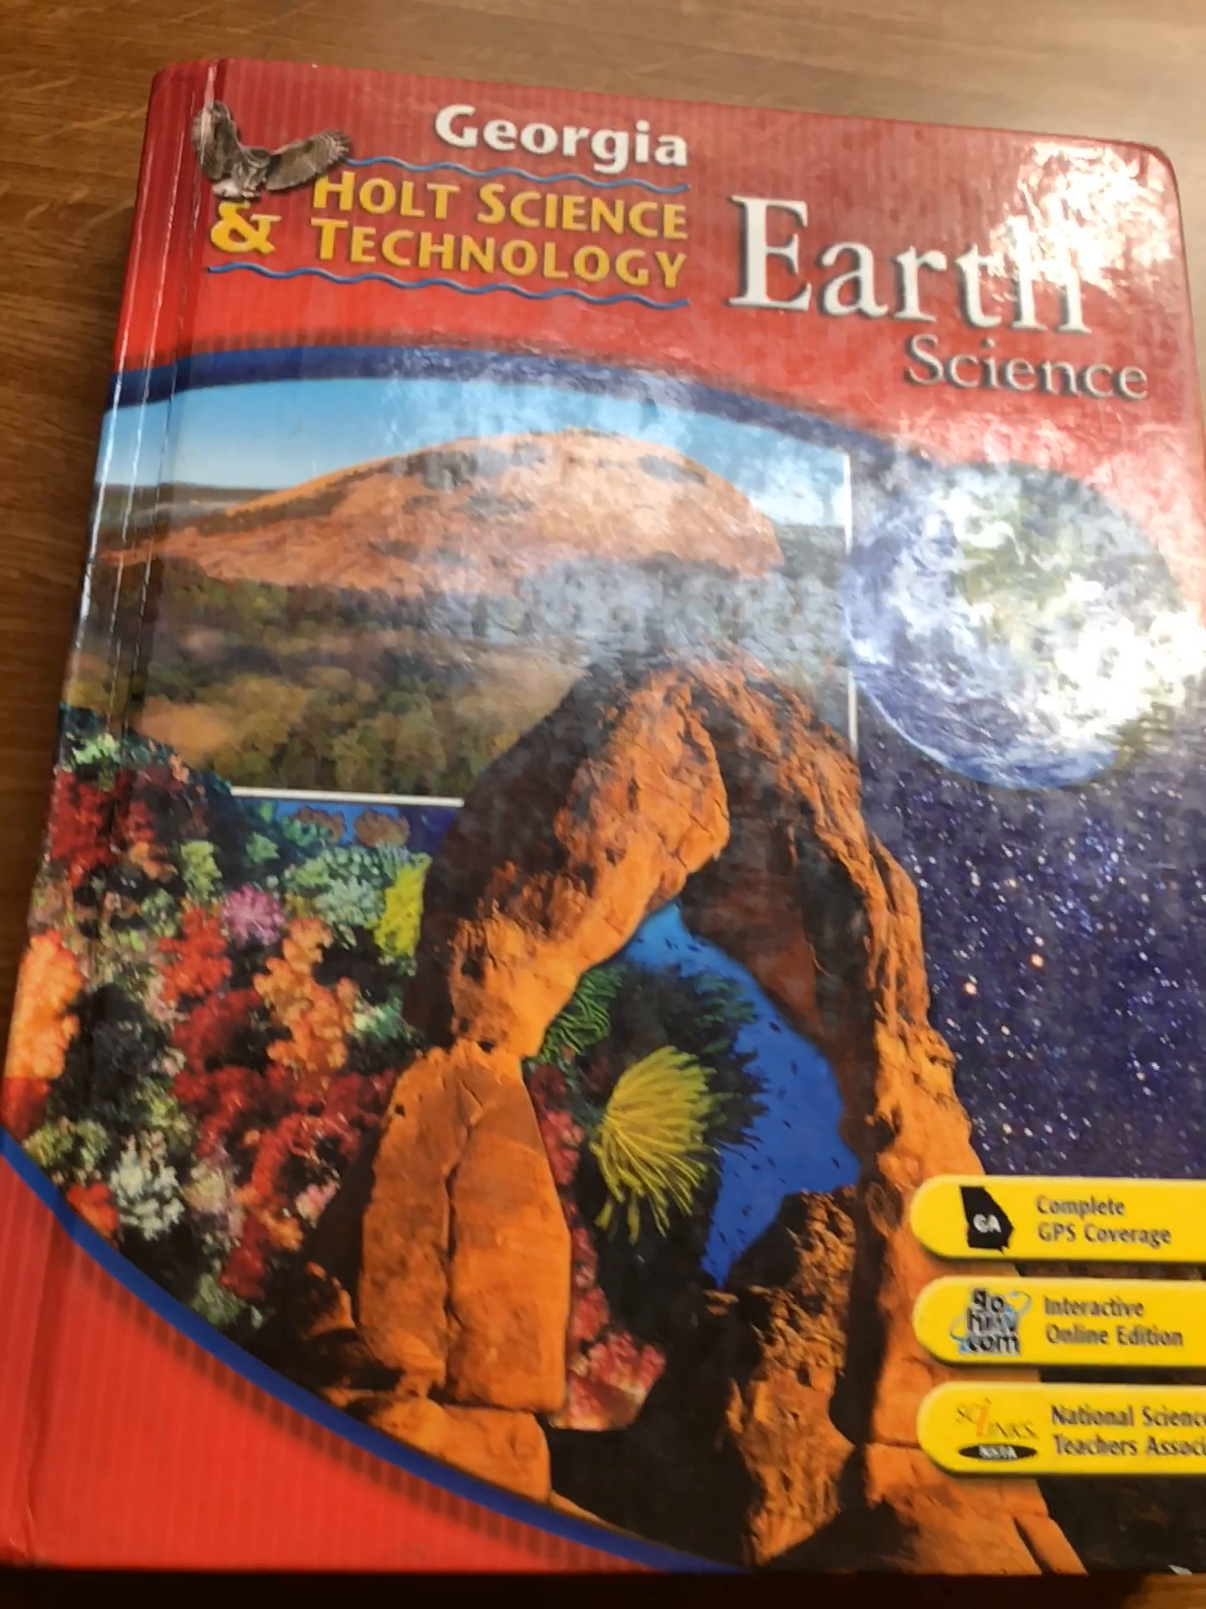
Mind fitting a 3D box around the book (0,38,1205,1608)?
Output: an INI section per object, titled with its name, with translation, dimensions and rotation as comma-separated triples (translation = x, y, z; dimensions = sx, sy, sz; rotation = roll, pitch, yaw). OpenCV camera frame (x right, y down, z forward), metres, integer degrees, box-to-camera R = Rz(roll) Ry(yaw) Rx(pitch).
[book]
translation = 0.017, -0.003, 0.246
dimensions = 0.214, 0.050, 0.266
rotation = 3, 73, -5
